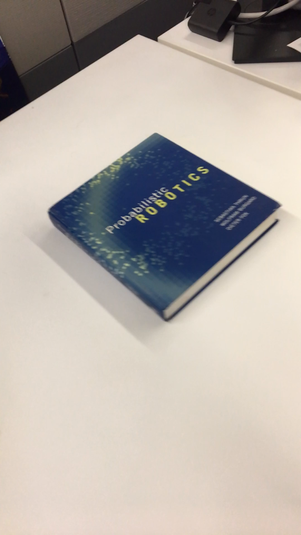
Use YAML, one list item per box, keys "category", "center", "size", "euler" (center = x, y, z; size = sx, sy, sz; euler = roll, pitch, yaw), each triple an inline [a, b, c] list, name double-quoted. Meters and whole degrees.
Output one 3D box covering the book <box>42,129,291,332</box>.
- category: "book"
  center: [0.017, -0.068, 0.596]
  size: [0.220, 0.030, 0.240]
  euler: [-40, 59, -19]
